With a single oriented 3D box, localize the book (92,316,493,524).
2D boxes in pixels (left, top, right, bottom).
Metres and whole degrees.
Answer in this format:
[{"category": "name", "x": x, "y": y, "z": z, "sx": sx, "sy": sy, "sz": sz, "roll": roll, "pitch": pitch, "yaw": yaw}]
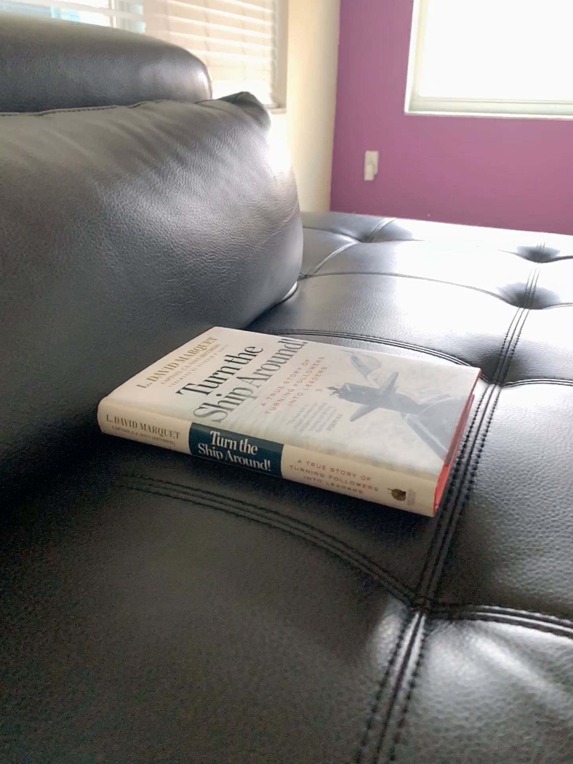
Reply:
[{"category": "book", "x": 0.011, "y": 0.009, "z": 0.399, "sx": 0.226, "sy": 0.029, "sz": 0.153, "roll": 11, "pitch": 29, "yaw": 22}]
